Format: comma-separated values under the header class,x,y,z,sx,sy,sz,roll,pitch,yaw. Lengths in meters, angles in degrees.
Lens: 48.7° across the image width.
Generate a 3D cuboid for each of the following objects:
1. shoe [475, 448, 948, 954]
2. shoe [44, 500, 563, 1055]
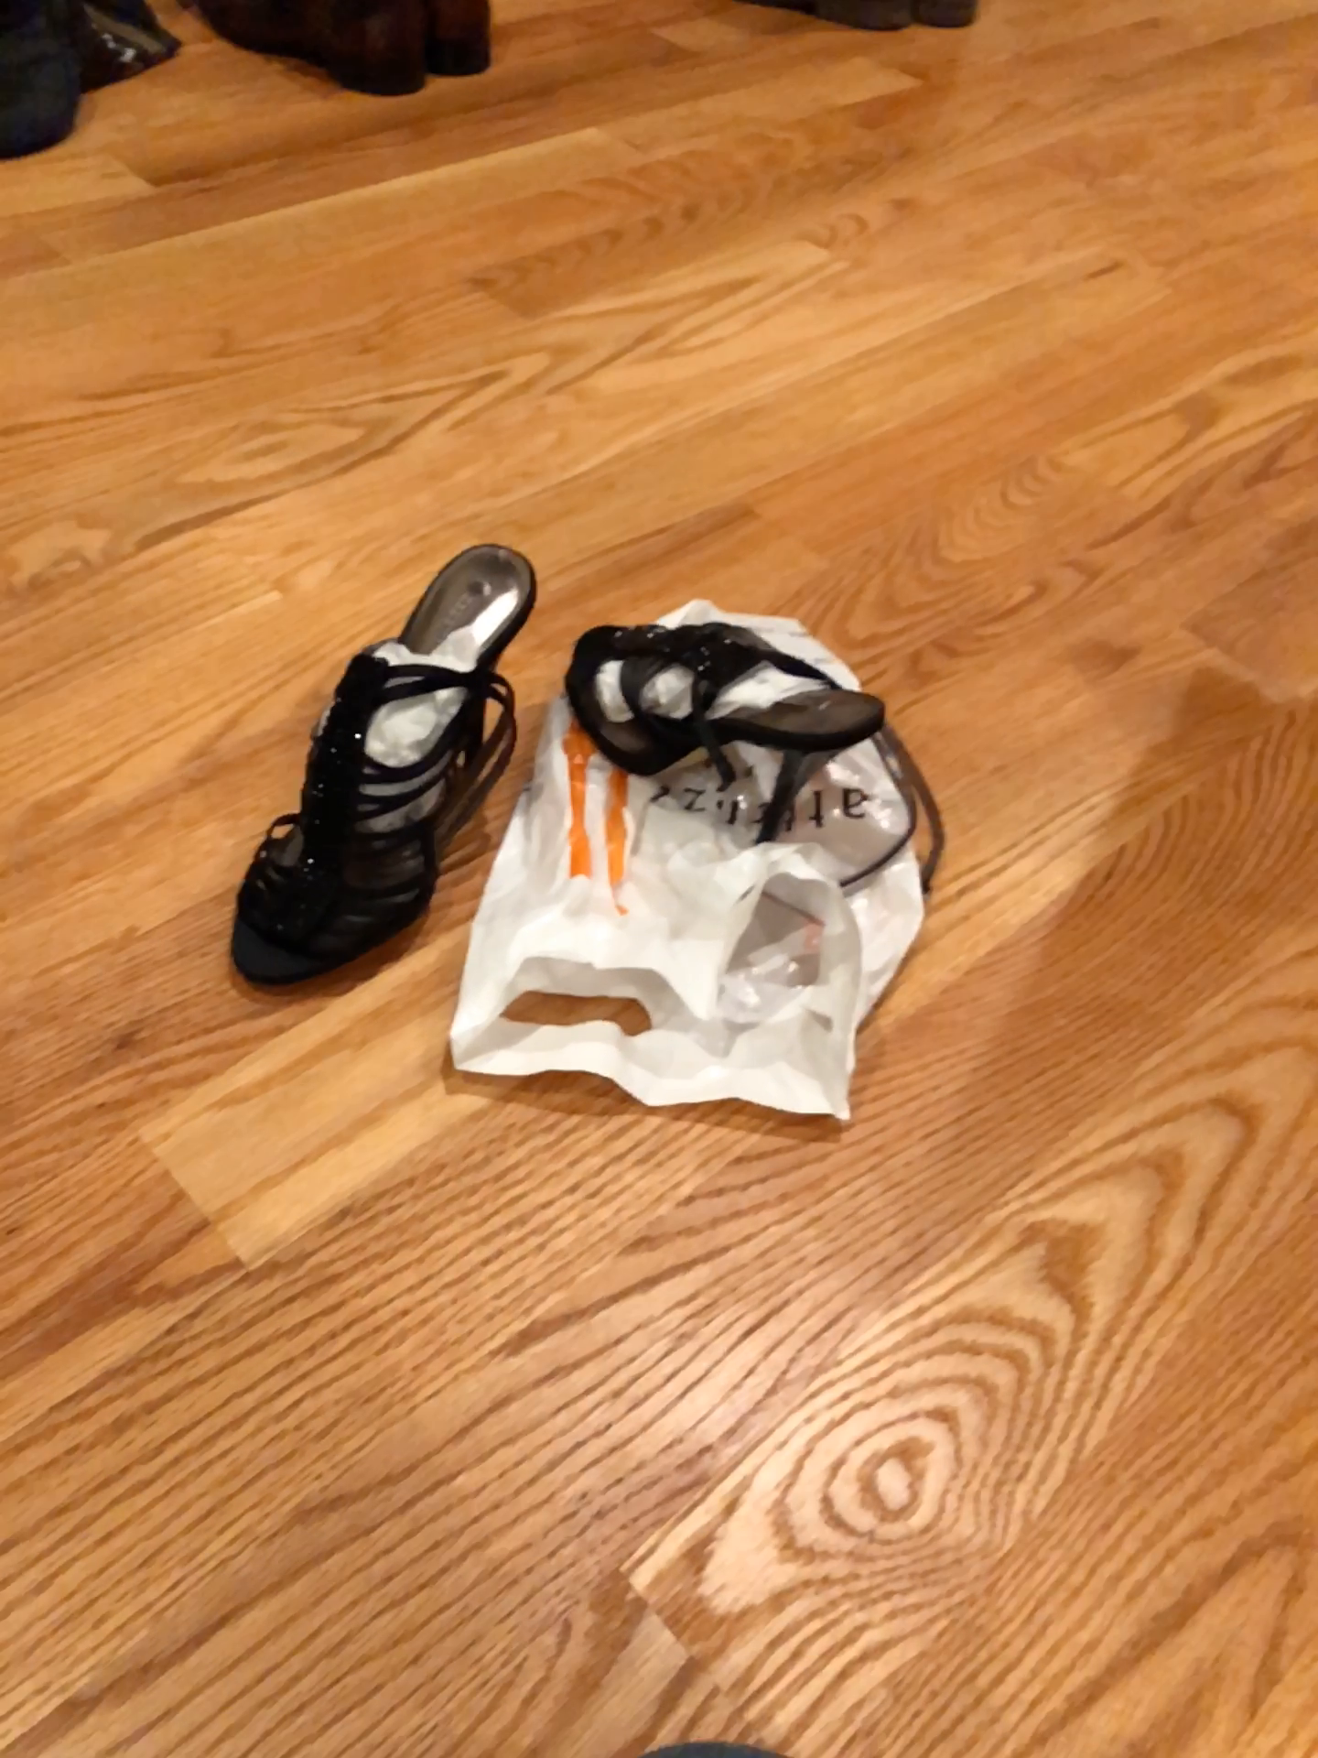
class,x,y,z,sx,sy,sz,roll,pitch,yaw
shoe,0.013,-0.090,0.682,0.092,0.112,0.218,-27,55,-28
shoe,-0.138,-0.052,0.630,0.090,0.112,0.218,24,49,16
